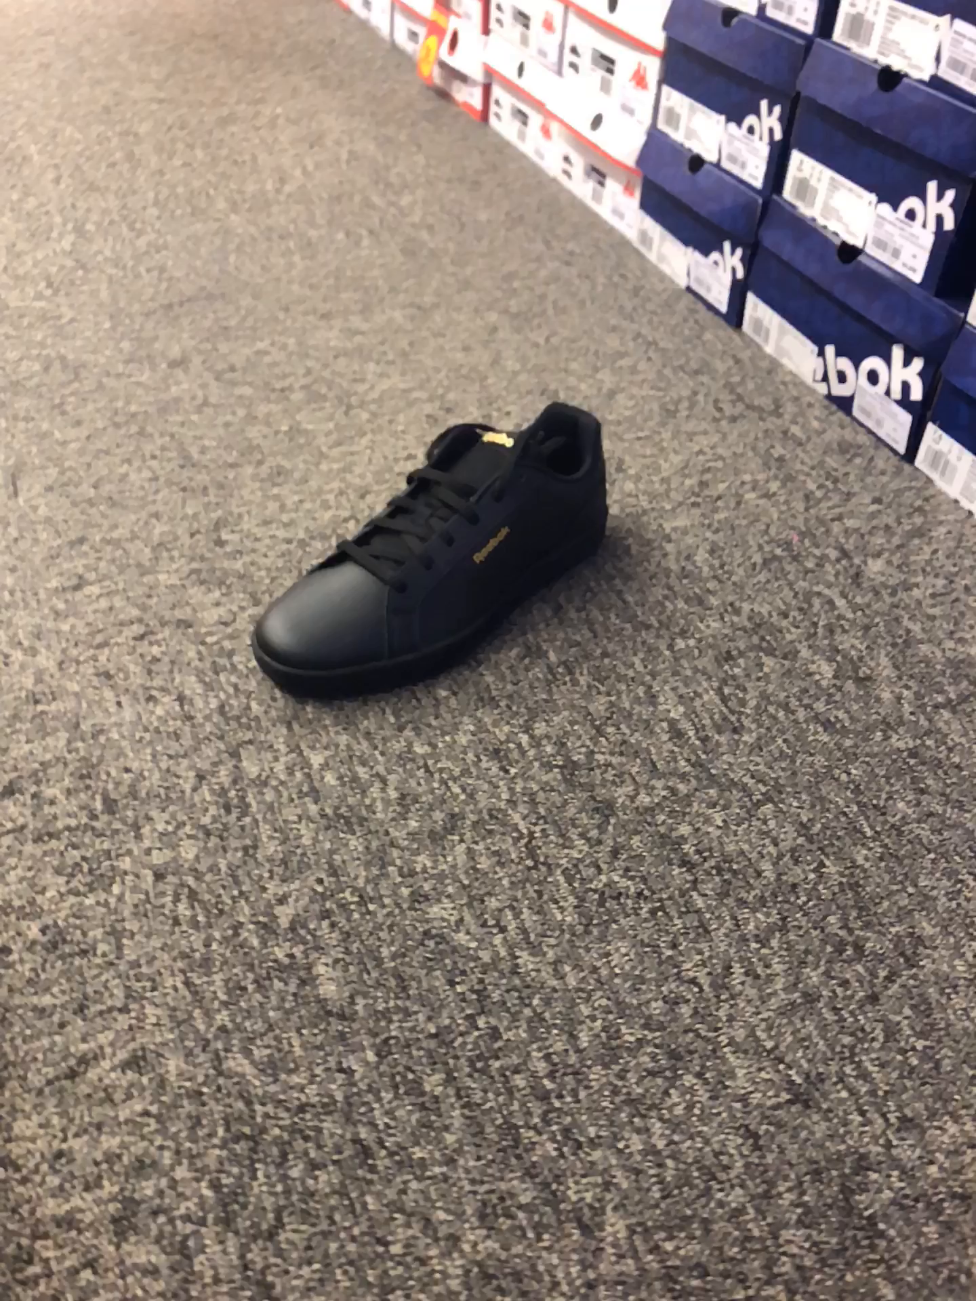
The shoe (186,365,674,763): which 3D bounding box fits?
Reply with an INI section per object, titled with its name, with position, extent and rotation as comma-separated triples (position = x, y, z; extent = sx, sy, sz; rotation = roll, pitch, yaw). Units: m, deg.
[shoe]
position = -0.023, -0.060, 0.613
extent = 0.261, 0.089, 0.098
rotation = -32, 52, -29
